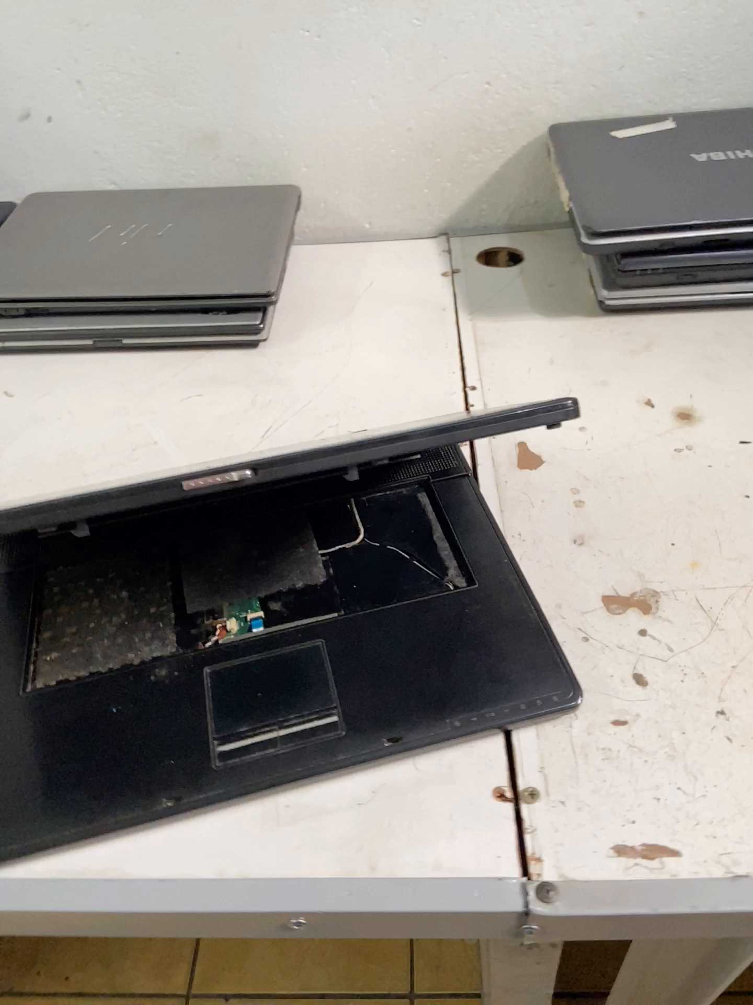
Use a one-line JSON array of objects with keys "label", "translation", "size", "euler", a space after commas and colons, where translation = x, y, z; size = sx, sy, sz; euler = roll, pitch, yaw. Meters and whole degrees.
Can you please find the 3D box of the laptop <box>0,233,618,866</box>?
[{"label": "laptop", "translation": [-0.090, 0.002, 0.460], "size": [0.348, 0.164, 0.261], "euler": [-12, 44, -8]}]
